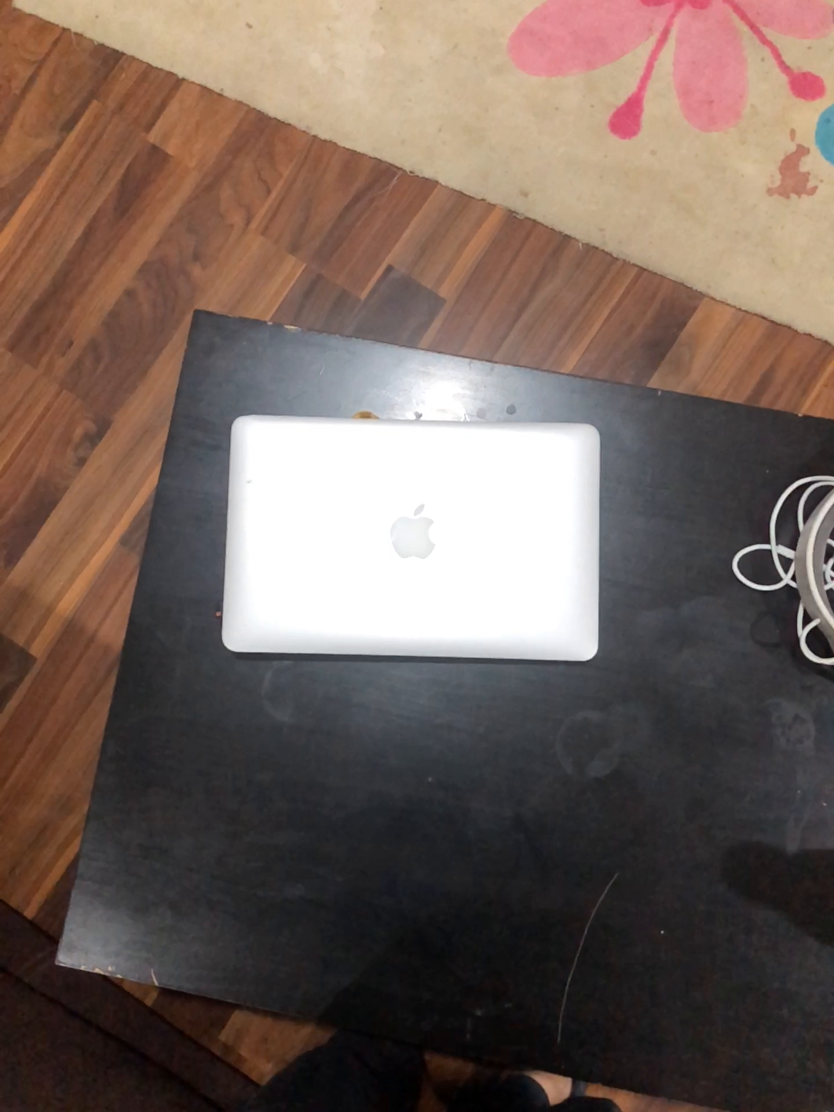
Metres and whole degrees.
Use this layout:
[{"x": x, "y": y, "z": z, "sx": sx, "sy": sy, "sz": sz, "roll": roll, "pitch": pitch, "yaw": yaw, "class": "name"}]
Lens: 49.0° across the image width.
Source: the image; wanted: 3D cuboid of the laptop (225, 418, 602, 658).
[{"x": -0.002, "y": -0.014, "z": 0.750, "sx": 0.300, "sy": 0.011, "sz": 0.190, "roll": 1, "pitch": 89, "yaw": -1, "class": "laptop"}]
